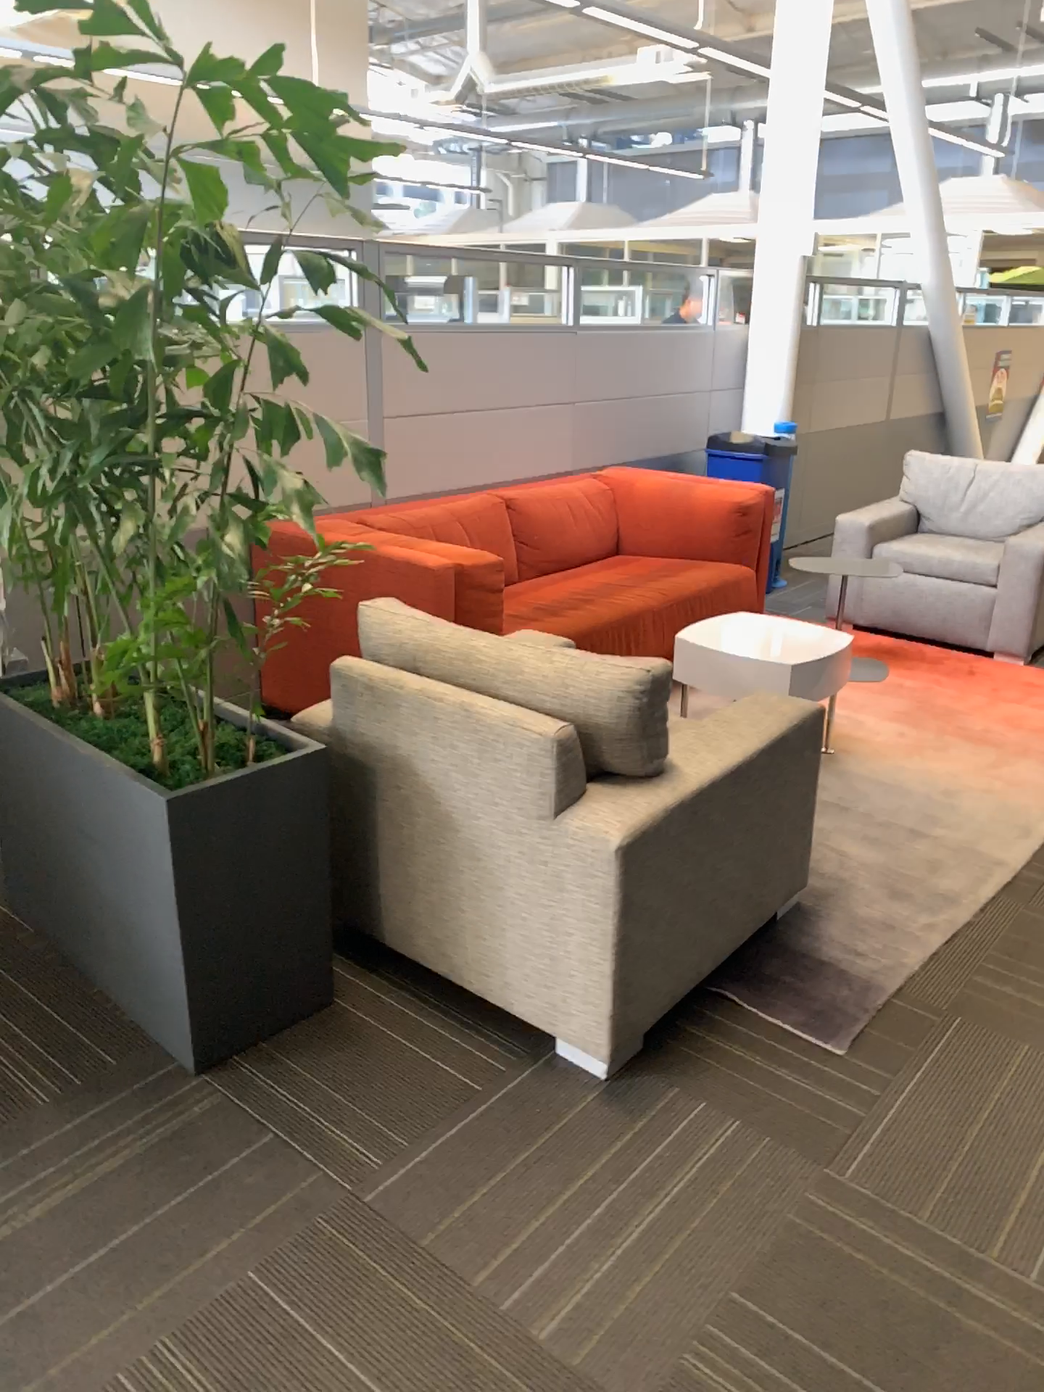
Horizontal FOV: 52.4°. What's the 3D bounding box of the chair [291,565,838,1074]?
[{"bbox_3d":[0.107,0.184,2.553,0.923,0.727,0.872,15,24,35],"label":"chair"}]
